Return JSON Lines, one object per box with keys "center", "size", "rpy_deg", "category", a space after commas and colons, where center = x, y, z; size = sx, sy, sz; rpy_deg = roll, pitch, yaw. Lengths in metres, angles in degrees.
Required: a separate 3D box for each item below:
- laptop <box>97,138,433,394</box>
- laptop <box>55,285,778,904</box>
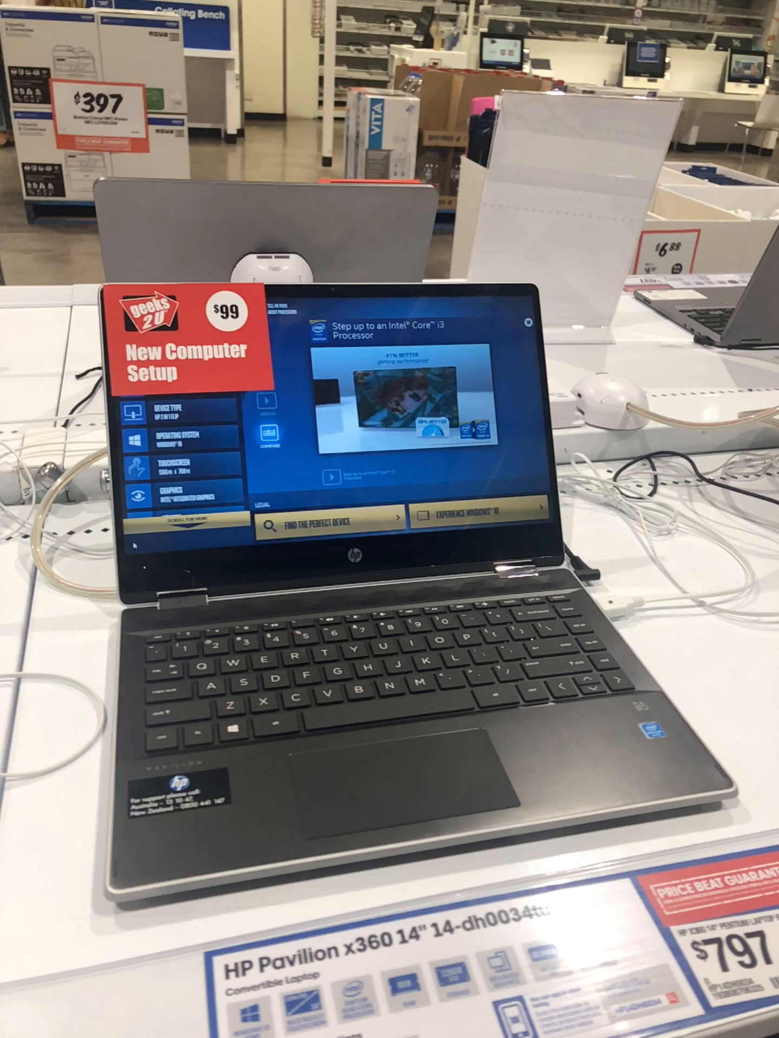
{"center": [-0.156, -0.304, 0.986], "size": [0.306, 0.199, 0.358], "rpy_deg": [-4, 30, -14], "category": "laptop"}
{"center": [-0.006, -0.005, 0.506], "size": [0.316, 0.169, 0.340], "rpy_deg": [-4, 31, -15], "category": "laptop"}
